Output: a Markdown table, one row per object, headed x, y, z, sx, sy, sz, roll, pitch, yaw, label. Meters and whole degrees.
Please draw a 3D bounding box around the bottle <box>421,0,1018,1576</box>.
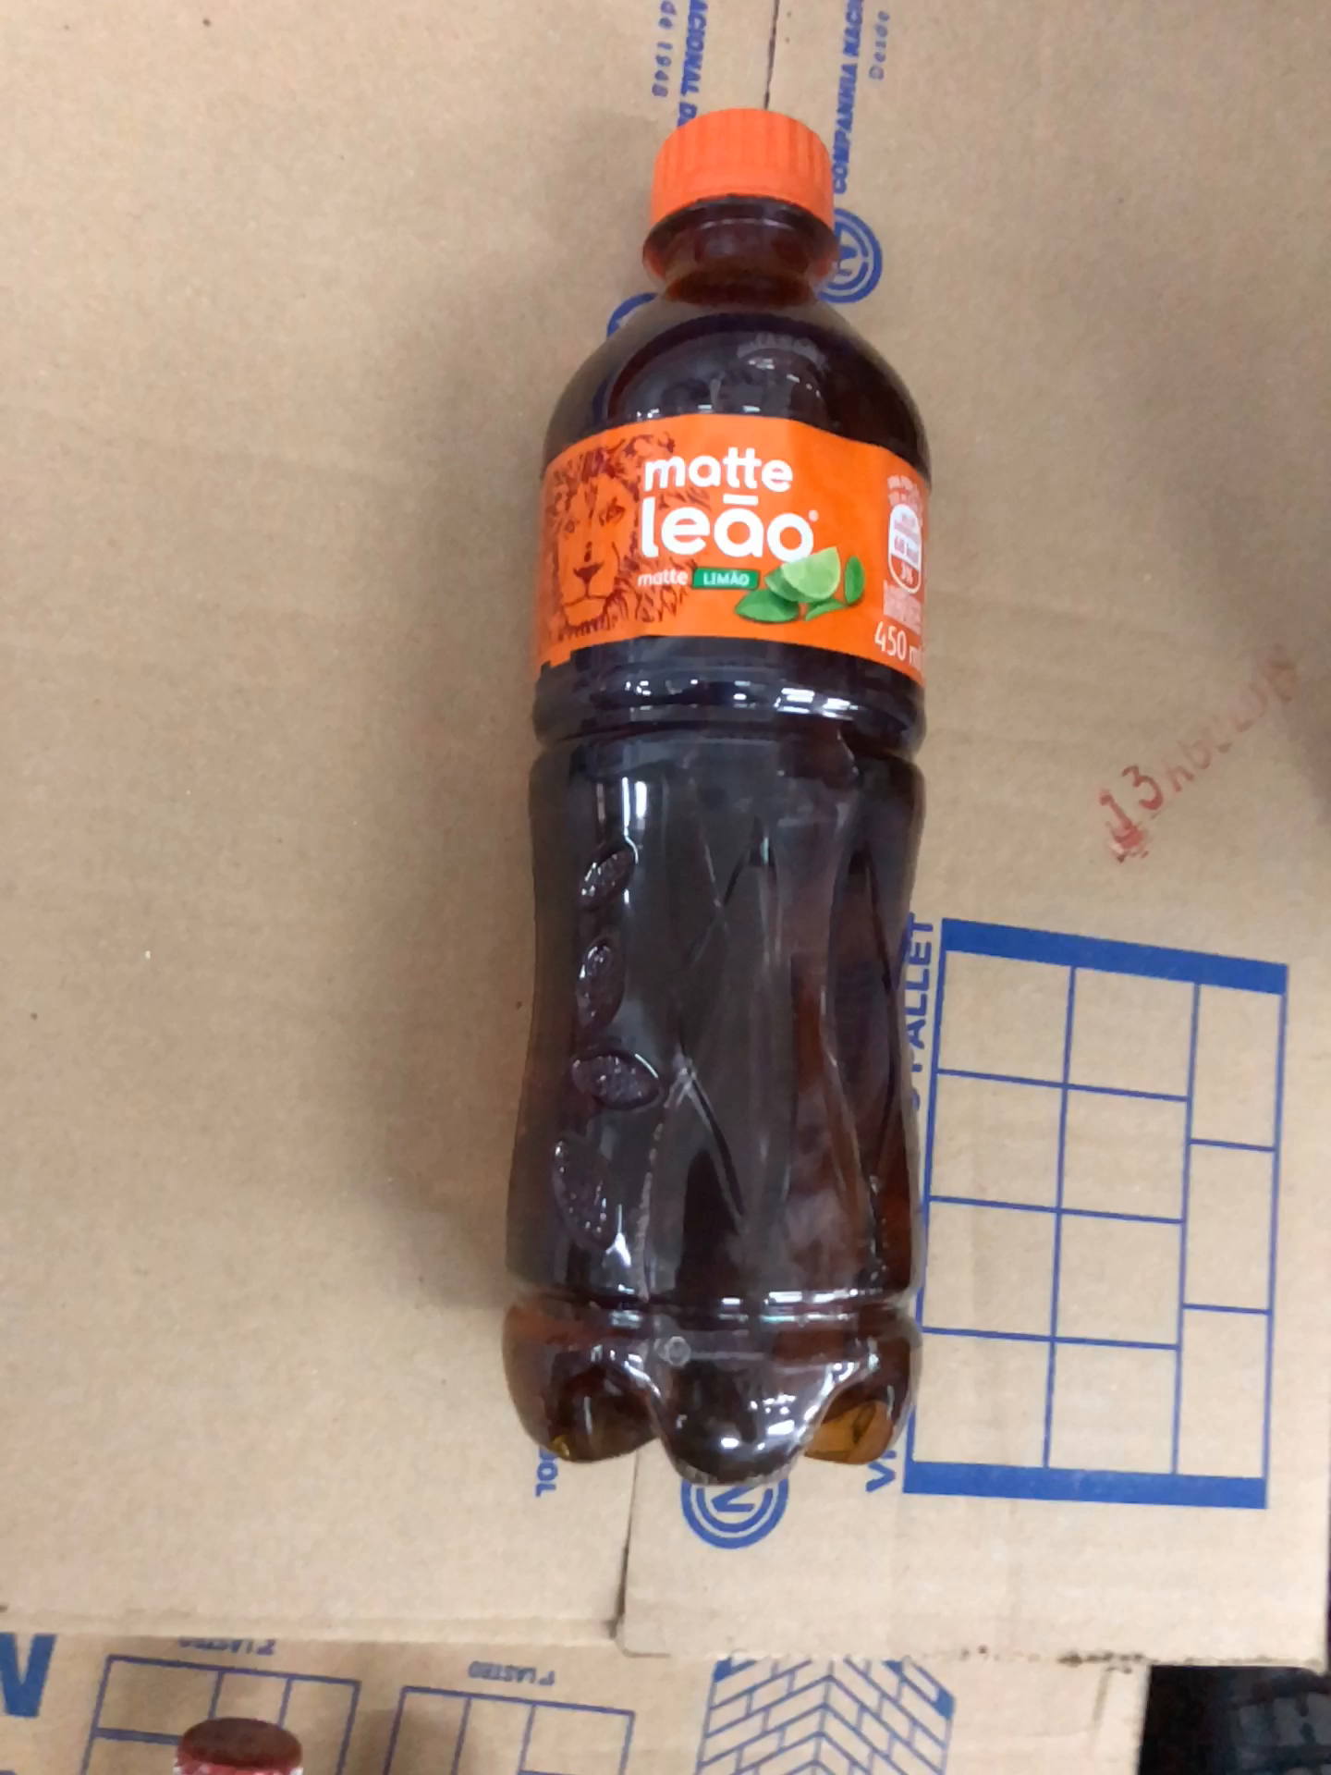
| x | y | z | sx | sy | sz | roll | pitch | yaw | label |
| --- | --- | --- | --- | --- | --- | --- | --- | --- | --- |
| 0.005 | -0.026 | 0.219 | 0.070 | 0.060 | 0.220 | 3 | 84 | -13 | bottle |
